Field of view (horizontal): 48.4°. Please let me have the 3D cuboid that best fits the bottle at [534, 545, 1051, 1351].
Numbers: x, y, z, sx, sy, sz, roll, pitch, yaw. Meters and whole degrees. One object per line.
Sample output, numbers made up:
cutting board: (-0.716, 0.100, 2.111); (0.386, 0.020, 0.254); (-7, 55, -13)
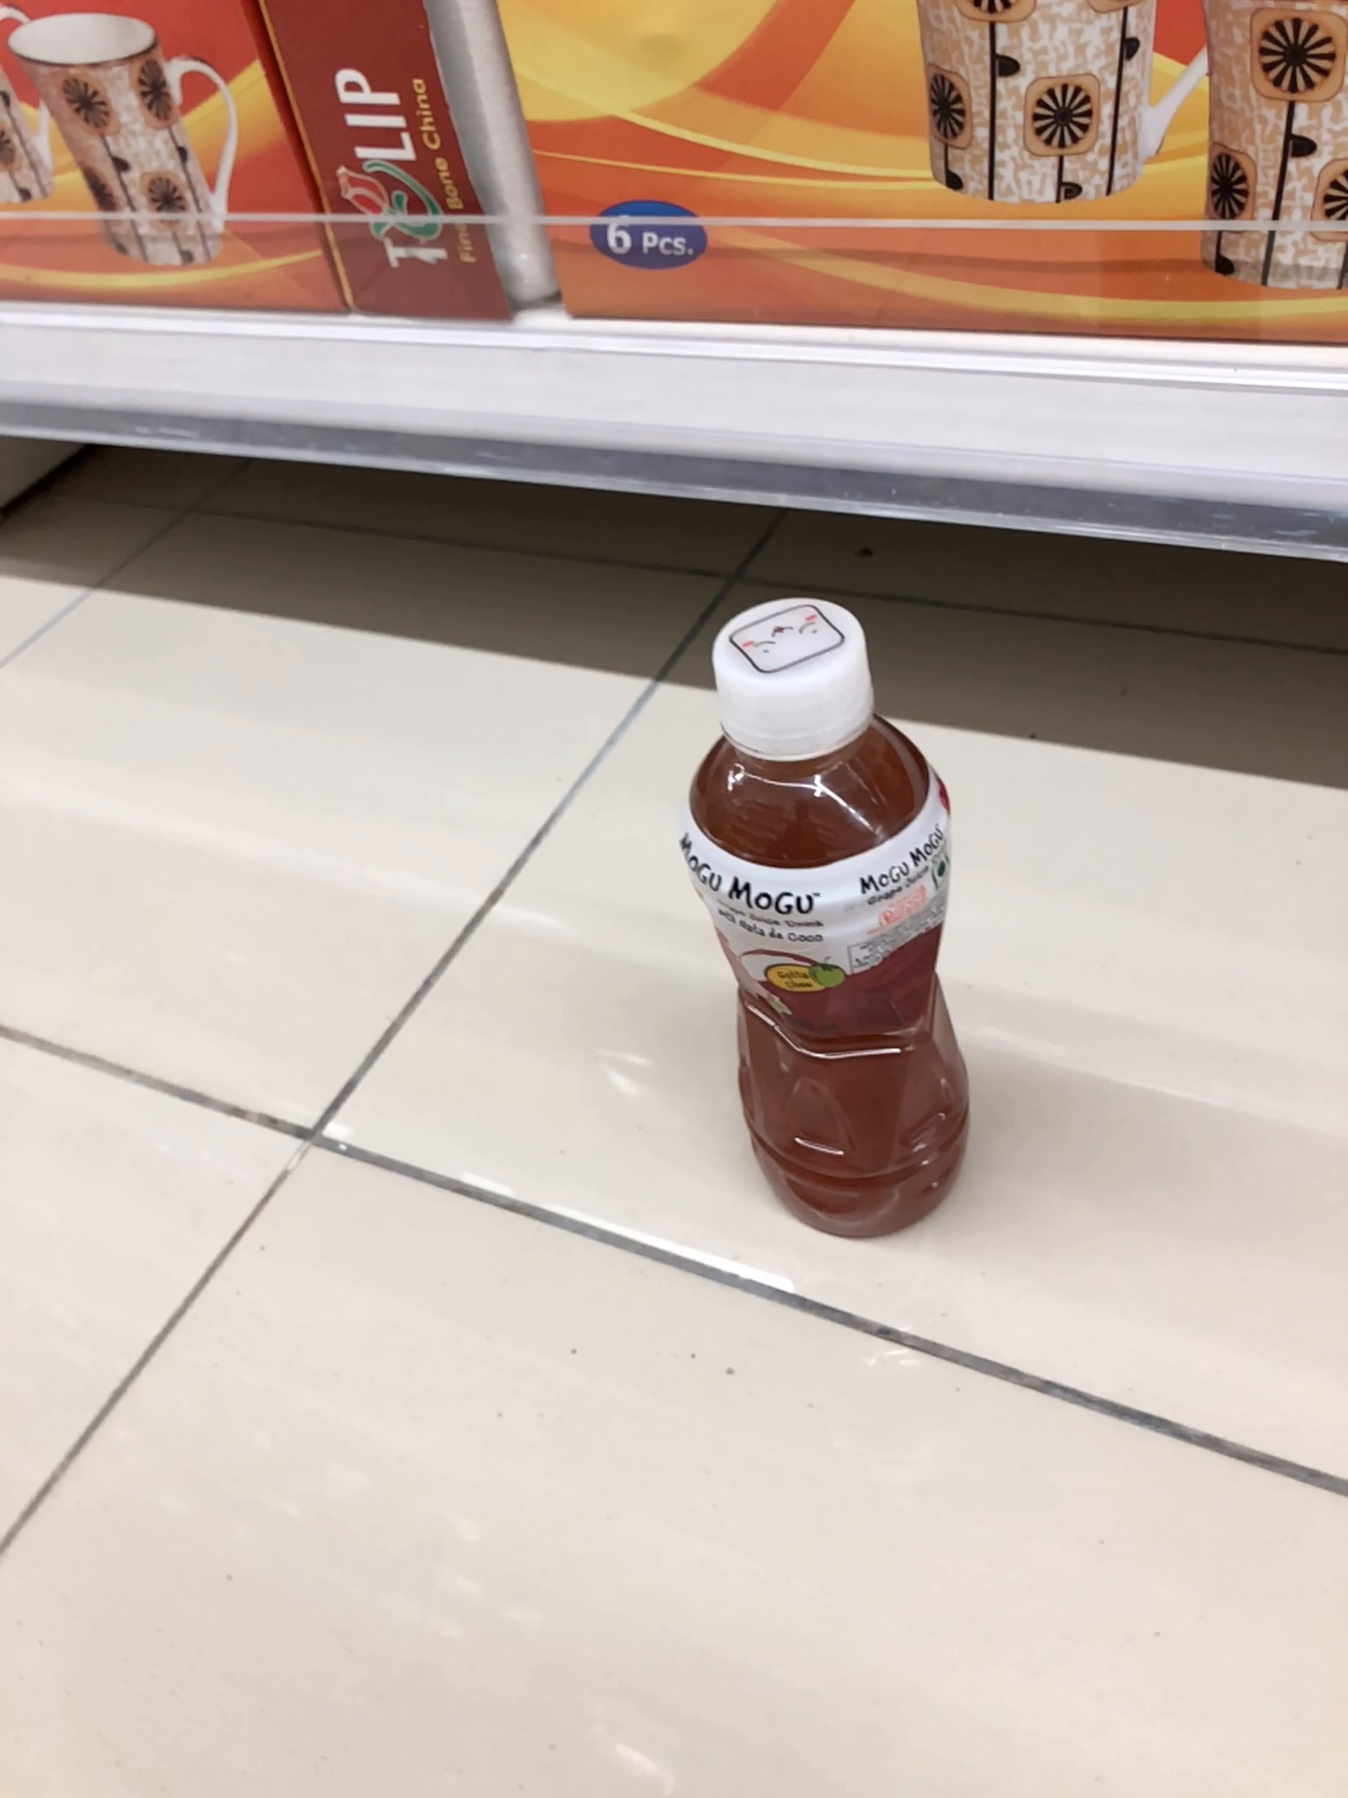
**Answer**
bottle: (0.035, 0.016, 0.339); (0.070, 0.159, 0.070); (-7, 42, 7)
